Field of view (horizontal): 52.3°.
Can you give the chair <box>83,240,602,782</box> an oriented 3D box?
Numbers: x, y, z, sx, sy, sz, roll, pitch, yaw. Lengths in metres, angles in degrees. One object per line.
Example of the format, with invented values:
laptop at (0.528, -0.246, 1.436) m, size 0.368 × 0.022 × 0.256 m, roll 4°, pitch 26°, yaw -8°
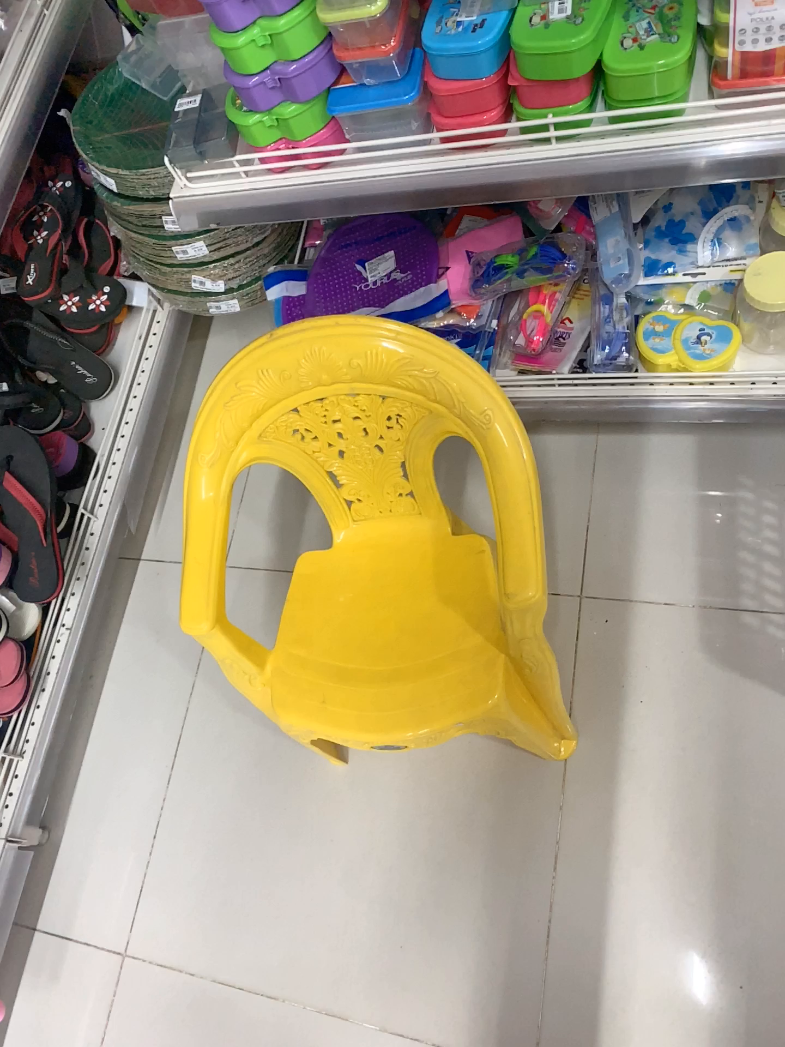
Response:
chair at (-0.005, 0.043, 0.941) m, size 0.421 × 0.449 × 0.460 m, roll -6°, pitch 67°, yaw 17°
